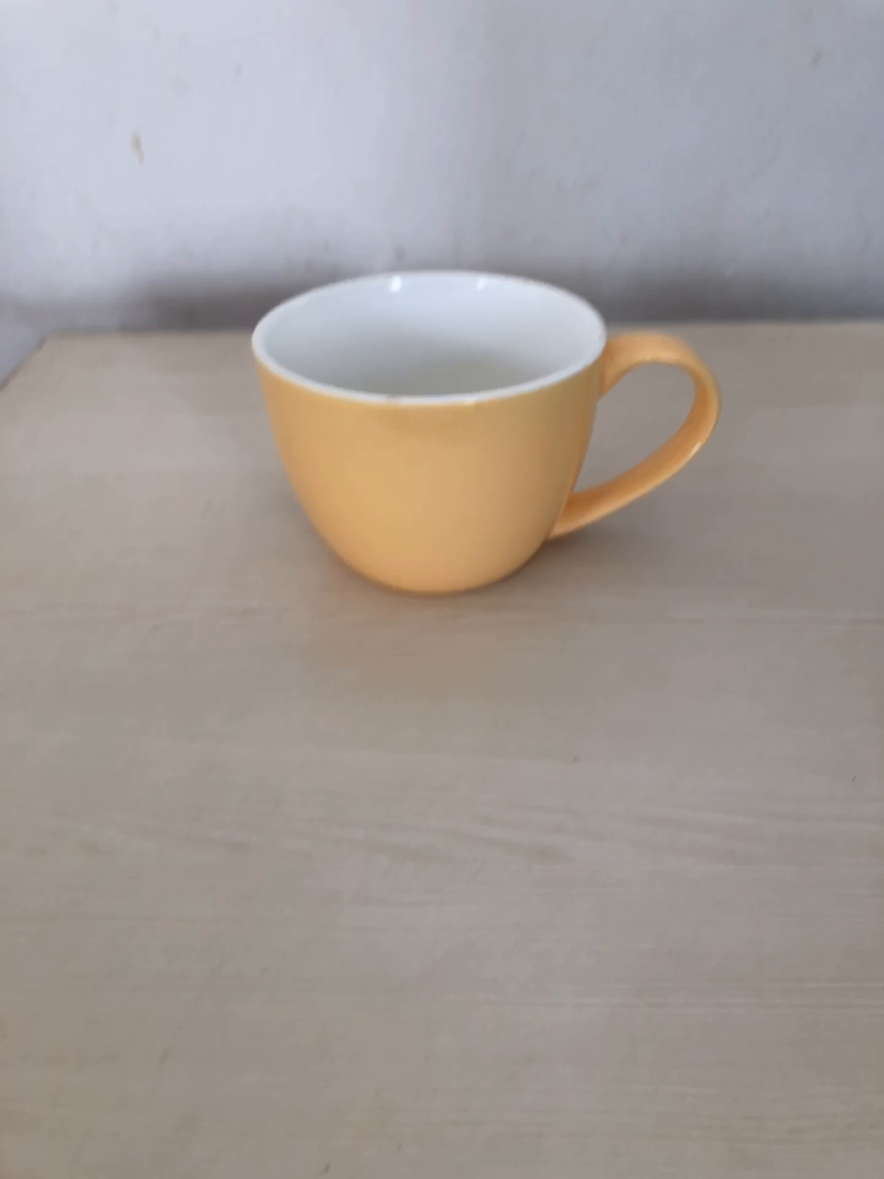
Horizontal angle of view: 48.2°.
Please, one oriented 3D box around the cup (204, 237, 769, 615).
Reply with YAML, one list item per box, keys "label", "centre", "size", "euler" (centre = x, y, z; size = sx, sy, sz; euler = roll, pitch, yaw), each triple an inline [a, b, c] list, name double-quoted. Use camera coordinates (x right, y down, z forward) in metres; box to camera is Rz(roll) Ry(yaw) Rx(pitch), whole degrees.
- label: "cup"
  centre: [0.014, -0.054, 0.309]
  size: [0.140, 0.079, 0.101]
  euler: [0, 35, 3]
